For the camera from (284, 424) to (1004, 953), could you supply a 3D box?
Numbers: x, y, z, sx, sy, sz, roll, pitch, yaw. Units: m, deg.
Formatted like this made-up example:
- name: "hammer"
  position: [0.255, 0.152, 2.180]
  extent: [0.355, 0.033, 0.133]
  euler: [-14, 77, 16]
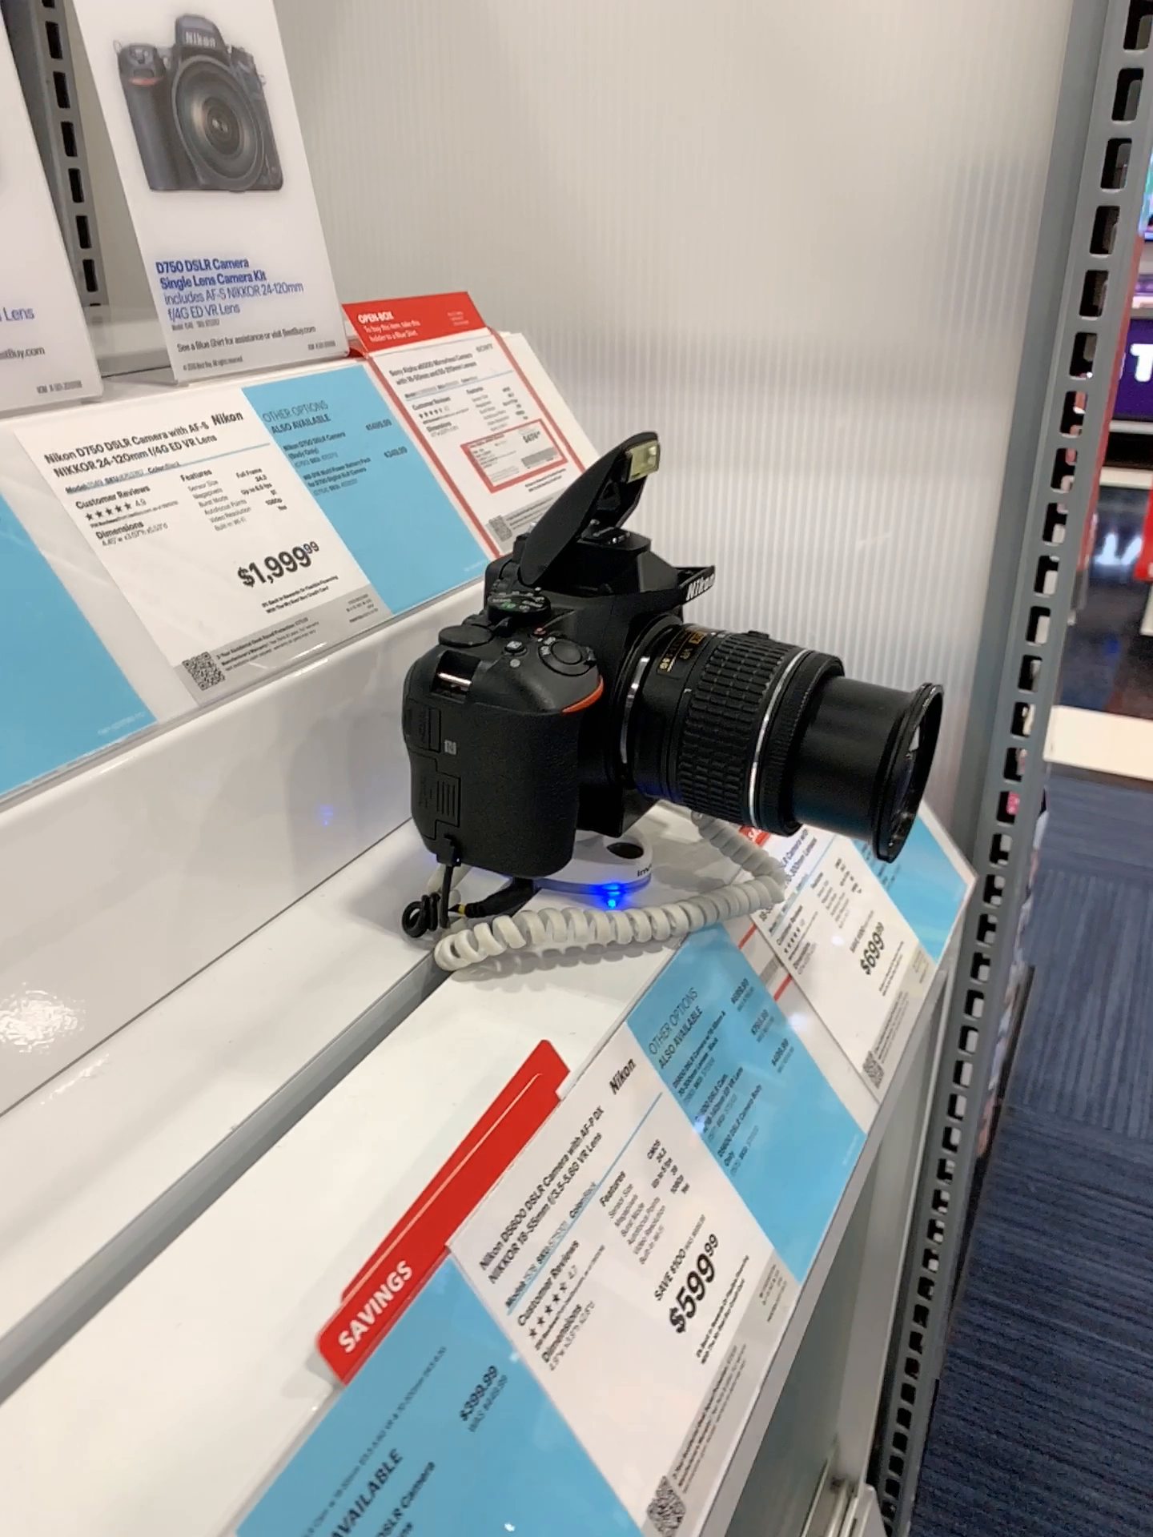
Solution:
- name: "camera"
  position: [0.028, -0.042, 0.398]
  extent: [0.190, 0.109, 0.141]
  euler: [10, 27, 21]
